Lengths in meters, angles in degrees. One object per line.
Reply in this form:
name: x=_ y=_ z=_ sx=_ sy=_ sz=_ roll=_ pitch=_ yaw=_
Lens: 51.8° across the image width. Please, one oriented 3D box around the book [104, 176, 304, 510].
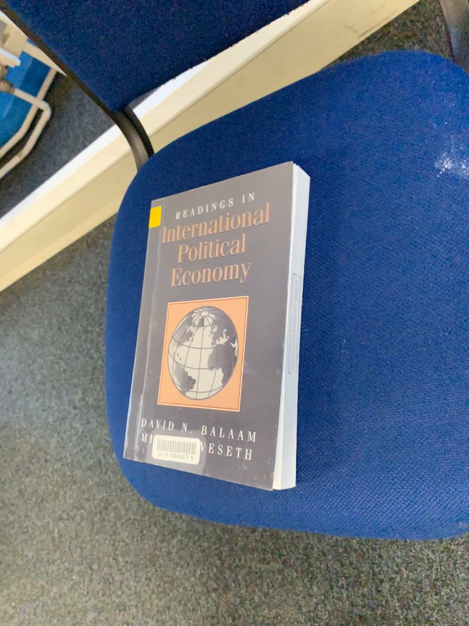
book: x=-0.026 y=0.019 z=0.372 sx=0.151 sy=0.030 sz=0.220 roll=-4 pitch=76 yaw=36
